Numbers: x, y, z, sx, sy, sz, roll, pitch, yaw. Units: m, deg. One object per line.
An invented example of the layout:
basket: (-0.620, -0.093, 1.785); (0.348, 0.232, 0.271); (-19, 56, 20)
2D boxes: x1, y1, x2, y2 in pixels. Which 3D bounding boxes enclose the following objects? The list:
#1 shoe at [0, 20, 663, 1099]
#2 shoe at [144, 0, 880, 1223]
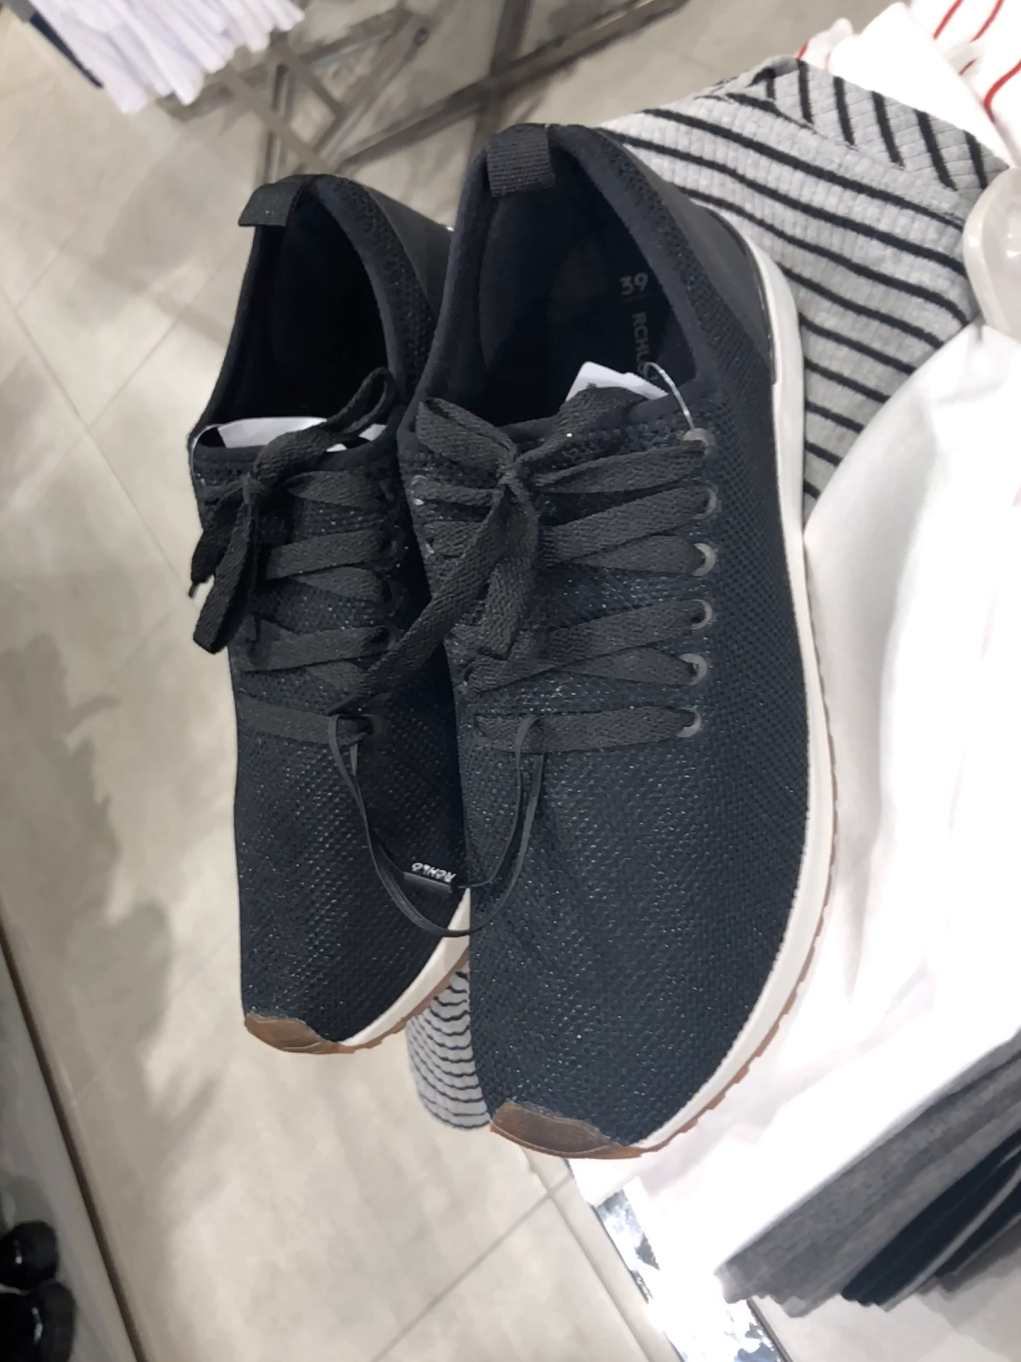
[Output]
shoe: (-0.048, -0.027, 0.337); (0.100, 0.119, 0.260); (4, 78, 35)
shoe: (0.021, -0.017, 0.296); (0.100, 0.119, 0.270); (-3, 67, 33)
